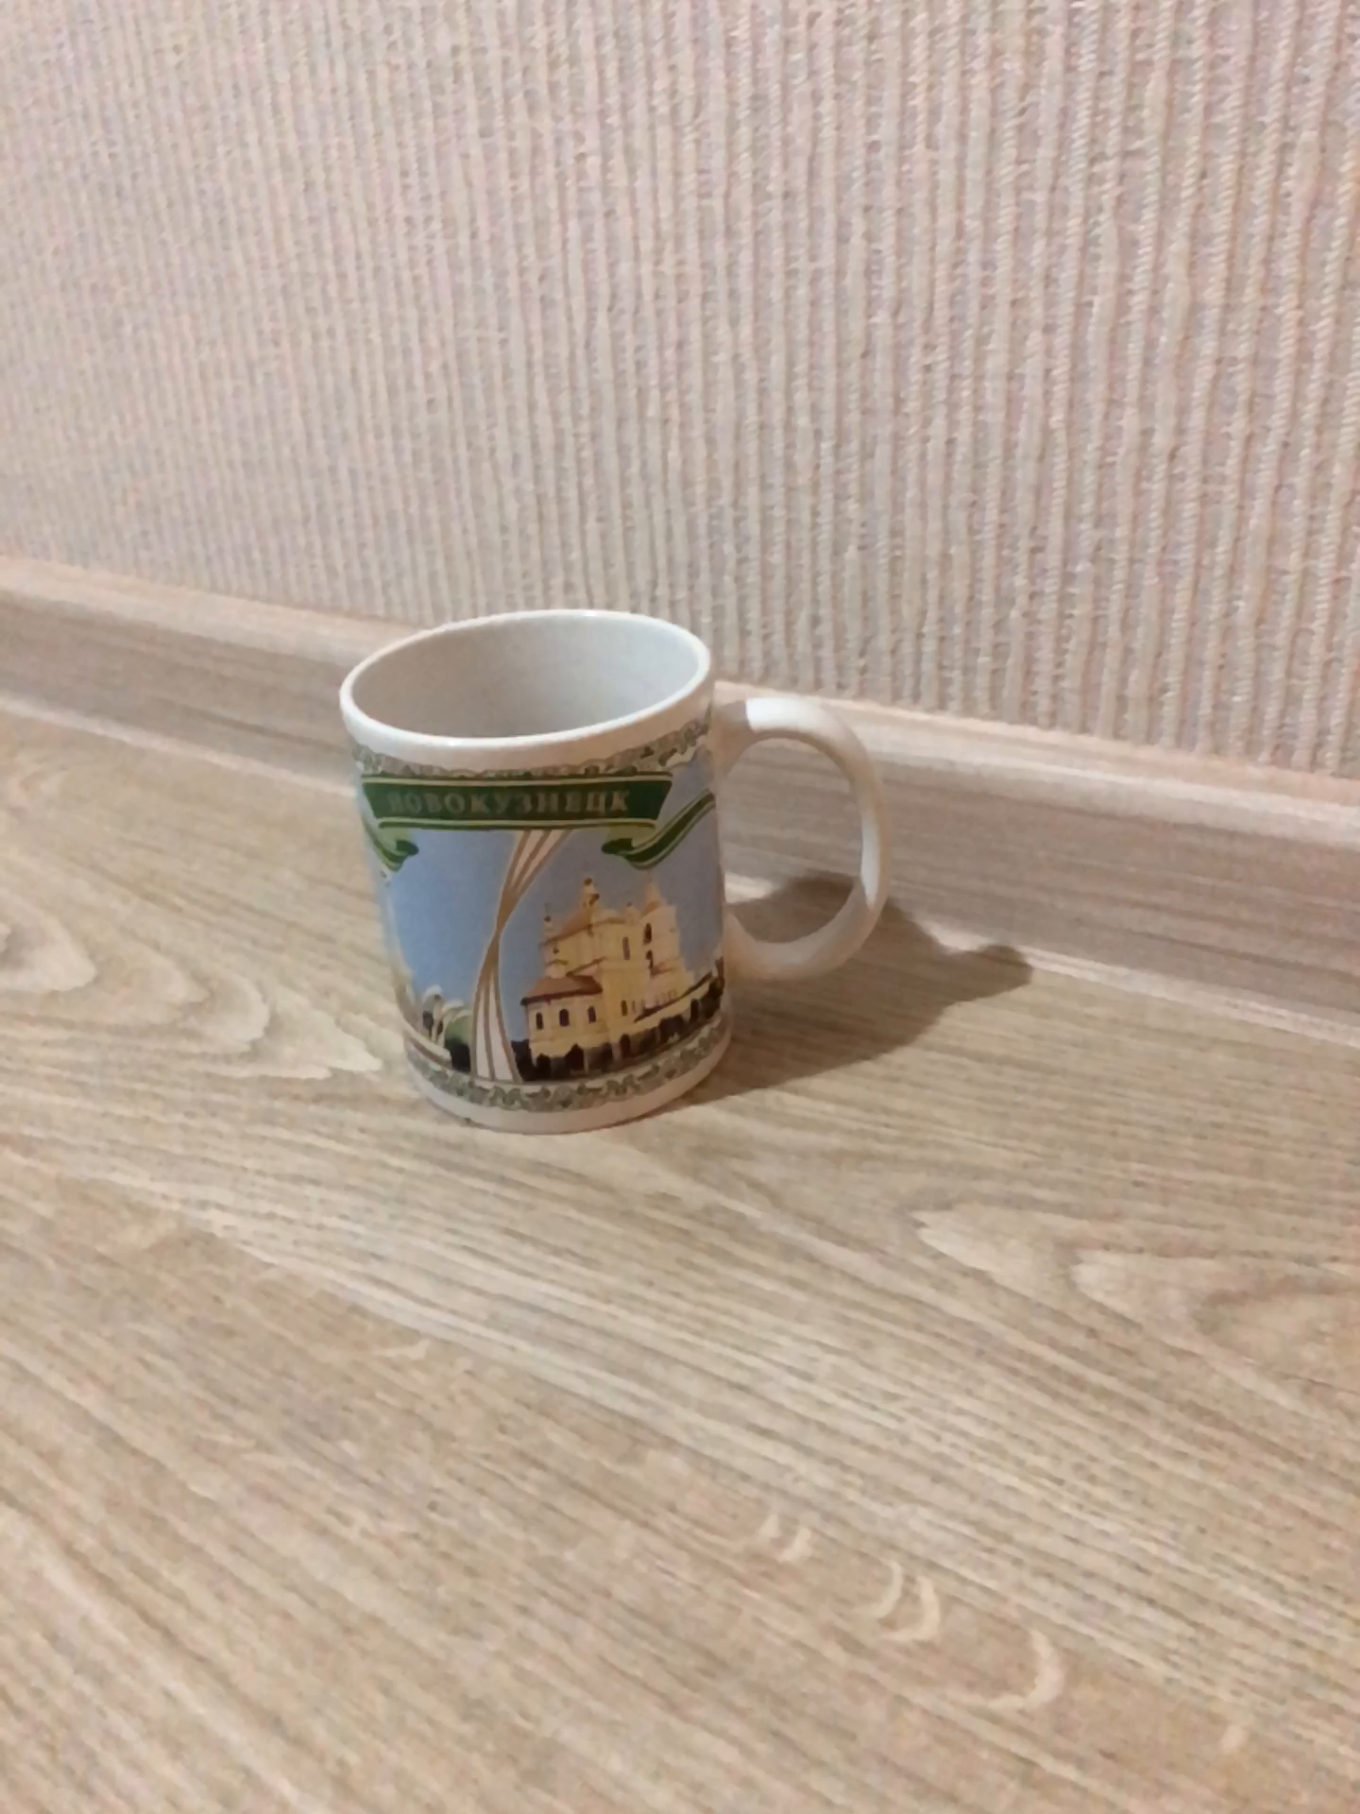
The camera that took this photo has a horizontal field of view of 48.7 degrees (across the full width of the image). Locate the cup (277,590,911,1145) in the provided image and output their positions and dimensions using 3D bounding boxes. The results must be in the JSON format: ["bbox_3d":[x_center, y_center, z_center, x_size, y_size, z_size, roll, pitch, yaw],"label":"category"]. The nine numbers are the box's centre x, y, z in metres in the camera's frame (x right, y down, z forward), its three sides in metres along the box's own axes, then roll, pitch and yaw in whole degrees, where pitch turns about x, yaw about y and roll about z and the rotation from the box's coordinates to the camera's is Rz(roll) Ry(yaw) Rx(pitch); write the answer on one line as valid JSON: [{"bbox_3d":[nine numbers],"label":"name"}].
[{"bbox_3d":[-0.013,-0.011,0.344,0.121,0.096,0.082,-2,28,3],"label":"cup"}]
